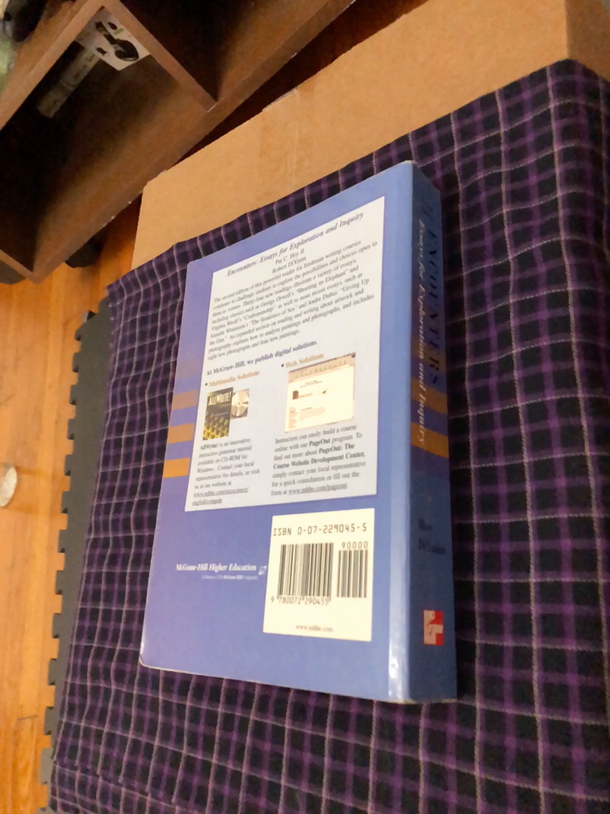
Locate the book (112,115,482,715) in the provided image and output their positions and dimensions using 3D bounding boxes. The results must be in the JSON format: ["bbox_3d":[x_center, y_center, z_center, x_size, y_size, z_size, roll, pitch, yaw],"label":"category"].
[{"bbox_3d":[-0.010,0.008,0.328,0.180,0.040,0.240,-14,65,41],"label":"book"}]
